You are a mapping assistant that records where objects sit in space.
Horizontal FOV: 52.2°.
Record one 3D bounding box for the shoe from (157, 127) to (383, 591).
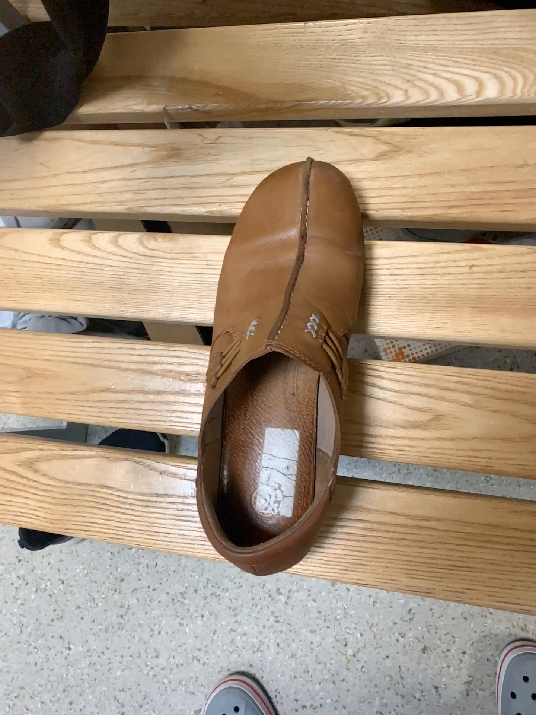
[{"bbox_3d":[0.009,-0.002,0.341,0.112,0.085,0.245,2,85,13],"label":"shoe"}]
